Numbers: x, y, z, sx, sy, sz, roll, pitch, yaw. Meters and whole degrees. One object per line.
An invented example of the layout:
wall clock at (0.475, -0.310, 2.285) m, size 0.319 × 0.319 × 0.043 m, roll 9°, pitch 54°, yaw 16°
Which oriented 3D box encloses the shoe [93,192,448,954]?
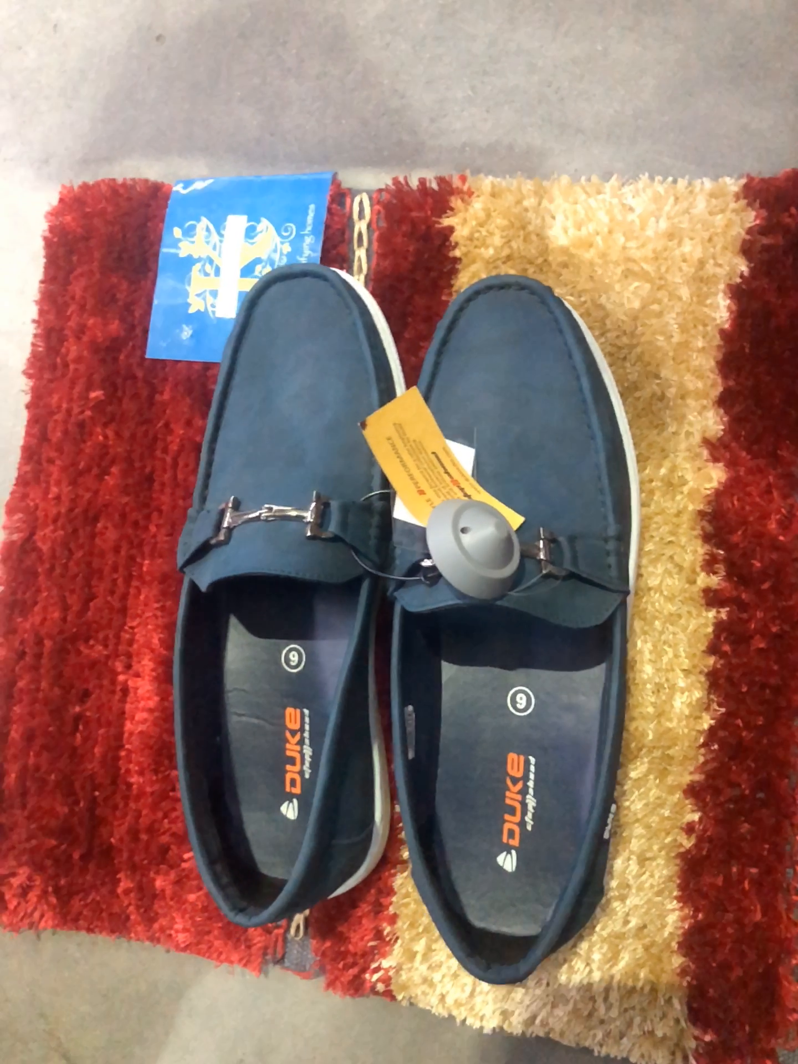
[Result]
shoe at (-0.046, 0.012, 0.381) m, size 0.110 × 0.090 × 0.280 m, roll 1°, pitch 84°, yaw 13°

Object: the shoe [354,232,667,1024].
shoe at (0.051, 0.031, 0.369) m, size 0.100 × 0.090 × 0.280 m, roll 2°, pitch 84°, yaw 13°
